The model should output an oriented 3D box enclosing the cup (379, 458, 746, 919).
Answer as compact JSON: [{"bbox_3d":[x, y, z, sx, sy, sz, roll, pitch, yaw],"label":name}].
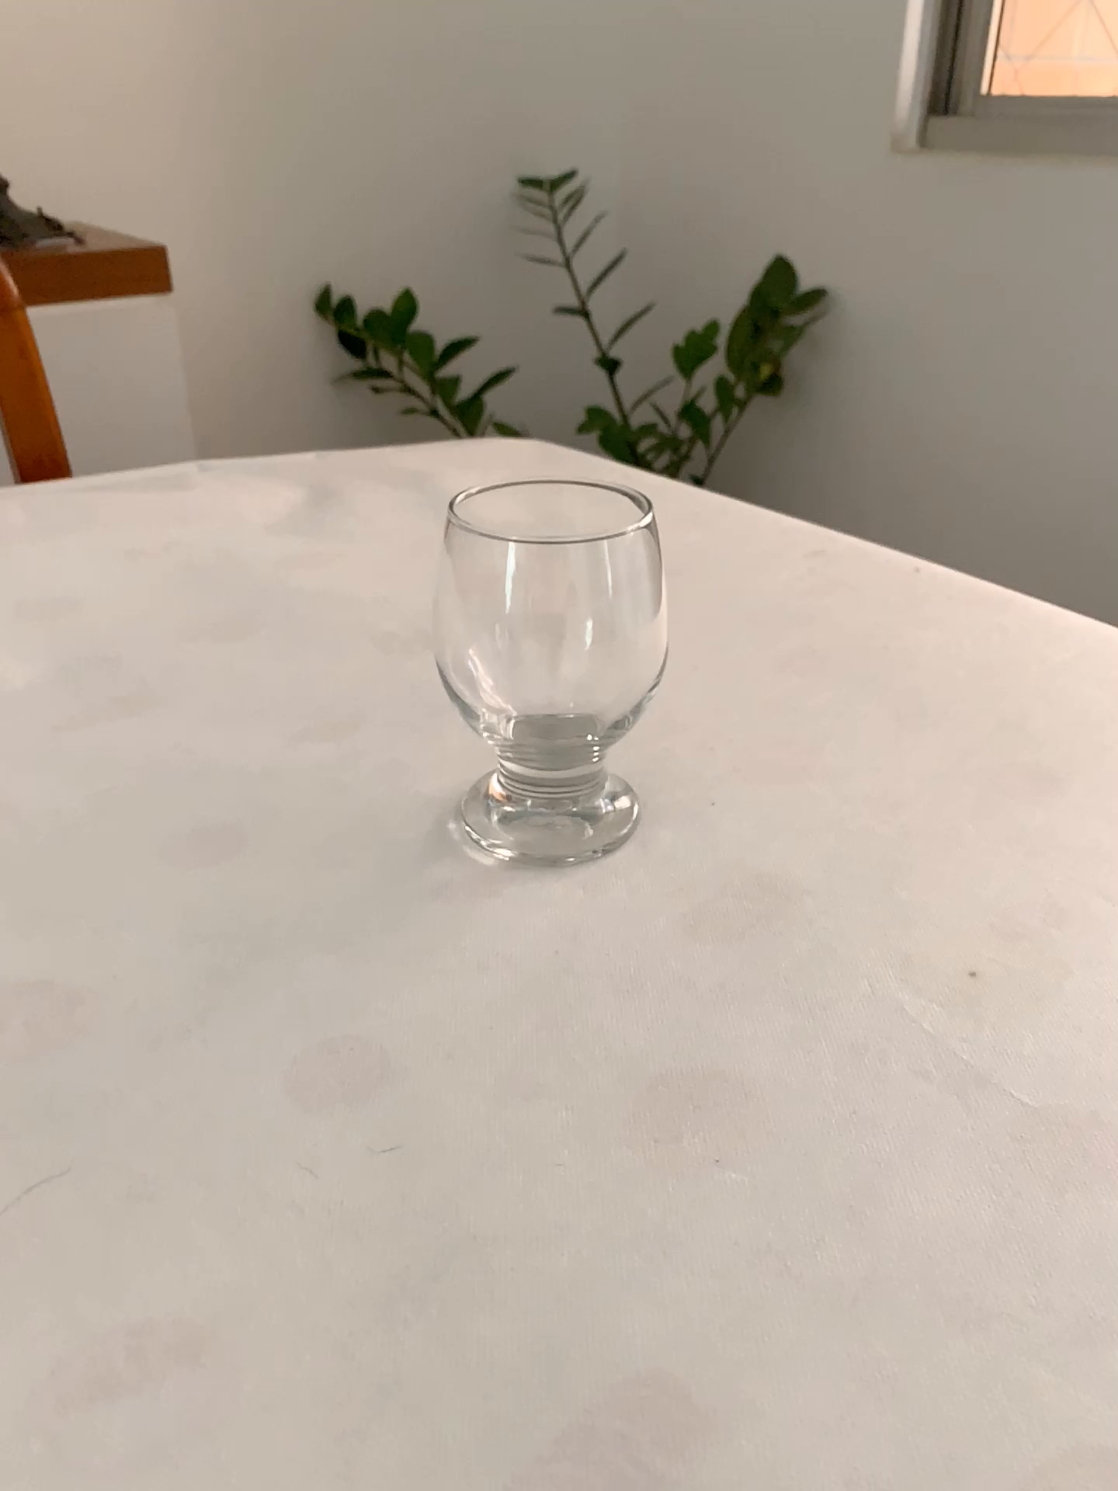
[{"bbox_3d":[0.000,-0.023,0.380,0.080,0.112,0.080,0,29,0],"label":"cup"}]
